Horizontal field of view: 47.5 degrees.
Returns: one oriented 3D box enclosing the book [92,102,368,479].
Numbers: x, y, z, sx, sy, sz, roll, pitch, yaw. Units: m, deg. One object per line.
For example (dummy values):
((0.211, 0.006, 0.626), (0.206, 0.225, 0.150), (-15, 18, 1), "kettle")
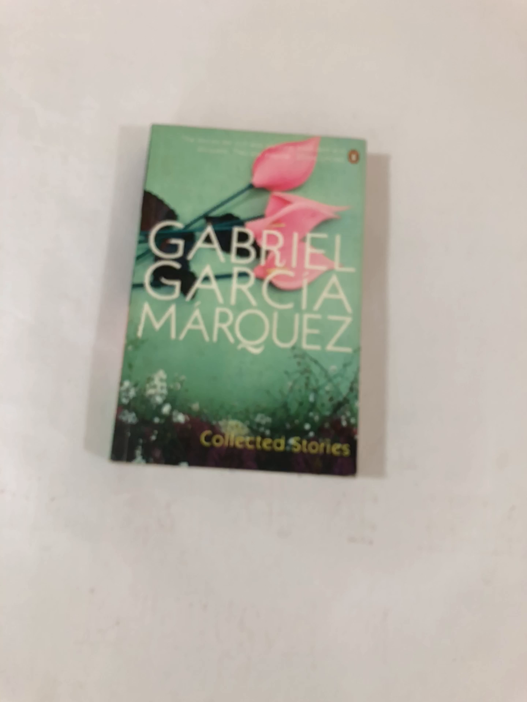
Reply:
((-0.012, -0.037, 0.330), (0.130, 0.030, 0.200), (4, 75, -1), "book")
